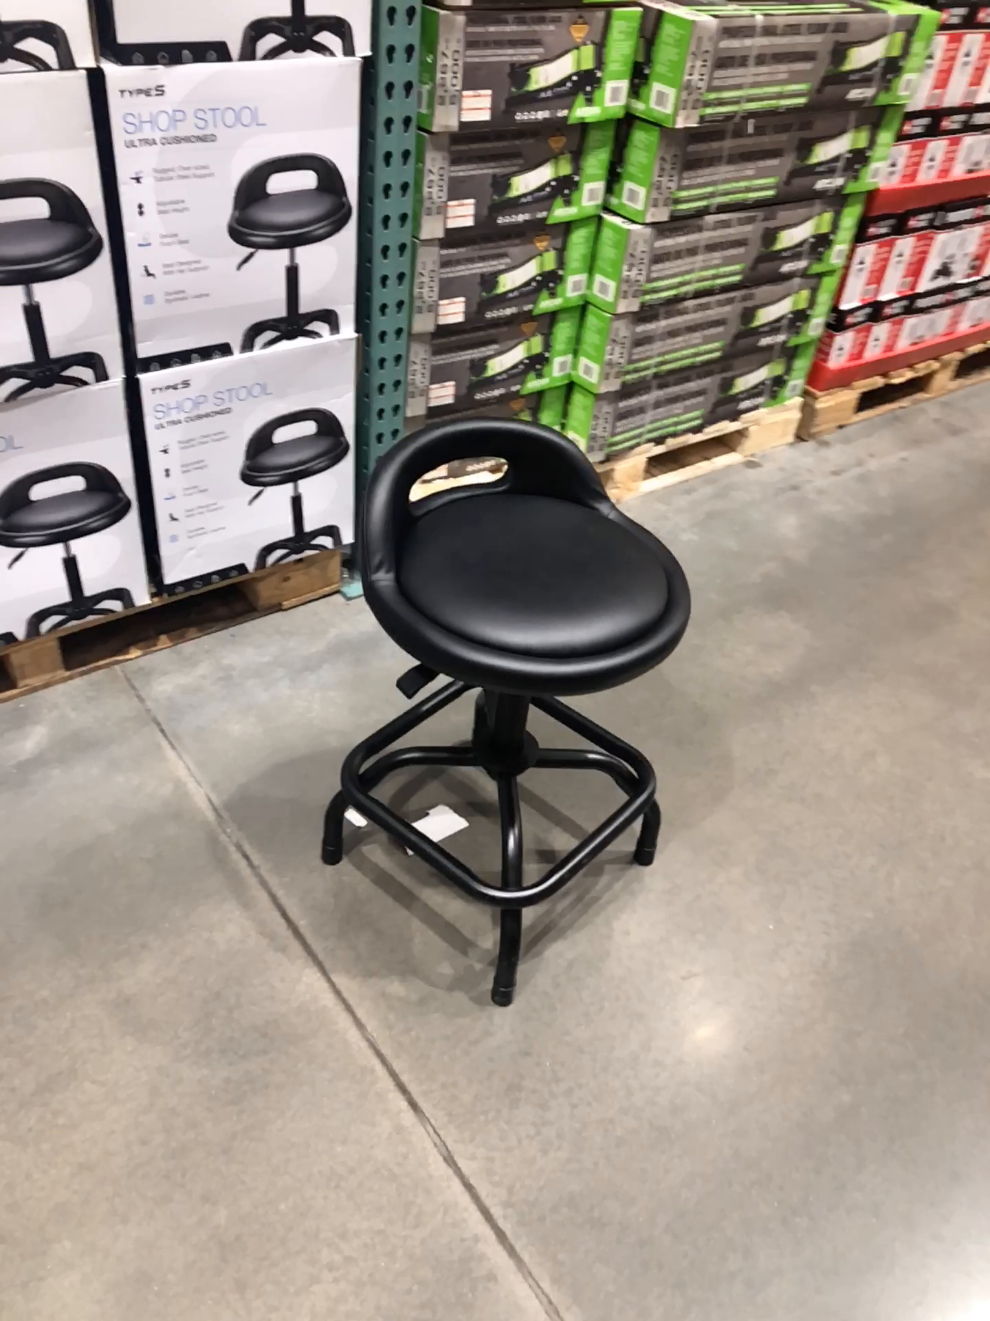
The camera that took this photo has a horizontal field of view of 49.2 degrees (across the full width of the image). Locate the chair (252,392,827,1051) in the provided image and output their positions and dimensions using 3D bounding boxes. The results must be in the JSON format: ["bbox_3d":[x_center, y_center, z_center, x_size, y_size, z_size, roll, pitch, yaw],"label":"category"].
[{"bbox_3d":[0.019,0.061,1.532,0.520,0.627,0.503,-20,46,-29],"label":"chair"}]
